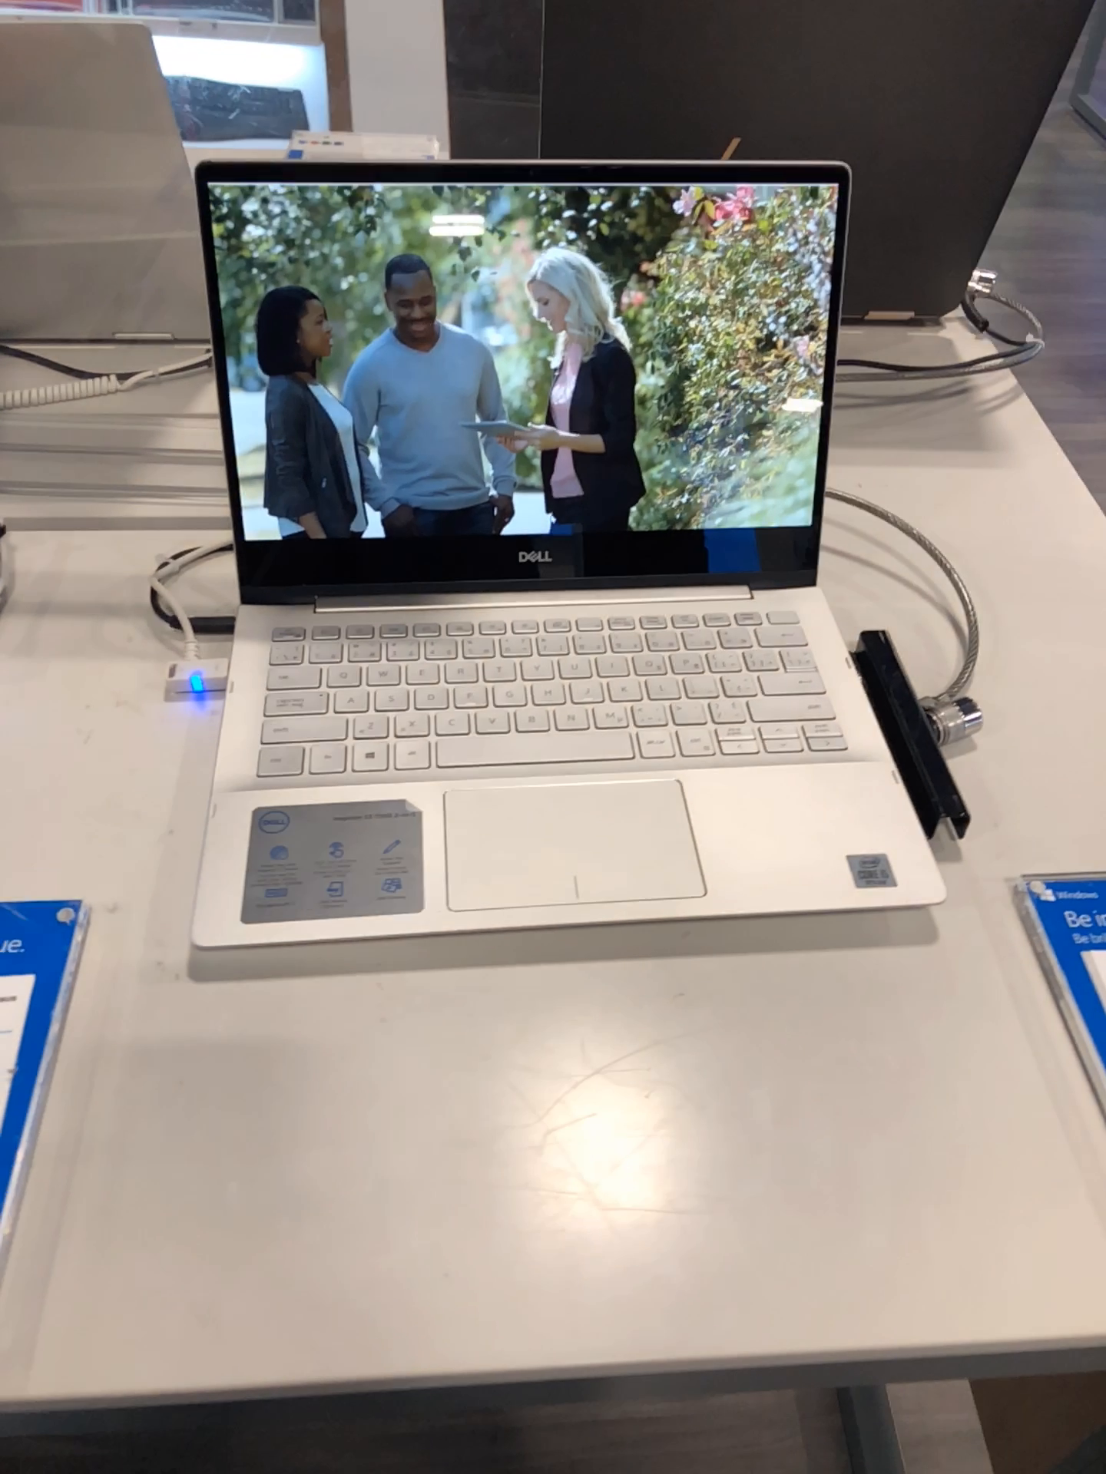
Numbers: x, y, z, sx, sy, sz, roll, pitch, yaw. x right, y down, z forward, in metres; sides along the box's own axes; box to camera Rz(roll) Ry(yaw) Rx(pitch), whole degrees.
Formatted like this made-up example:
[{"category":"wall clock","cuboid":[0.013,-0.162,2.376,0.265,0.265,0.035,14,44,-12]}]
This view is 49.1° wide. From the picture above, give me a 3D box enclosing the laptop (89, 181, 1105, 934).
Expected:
[{"category":"laptop","cuboid":[0.001,-0.085,0.496,0.285,0.186,0.265,-2,44,-5]}]
